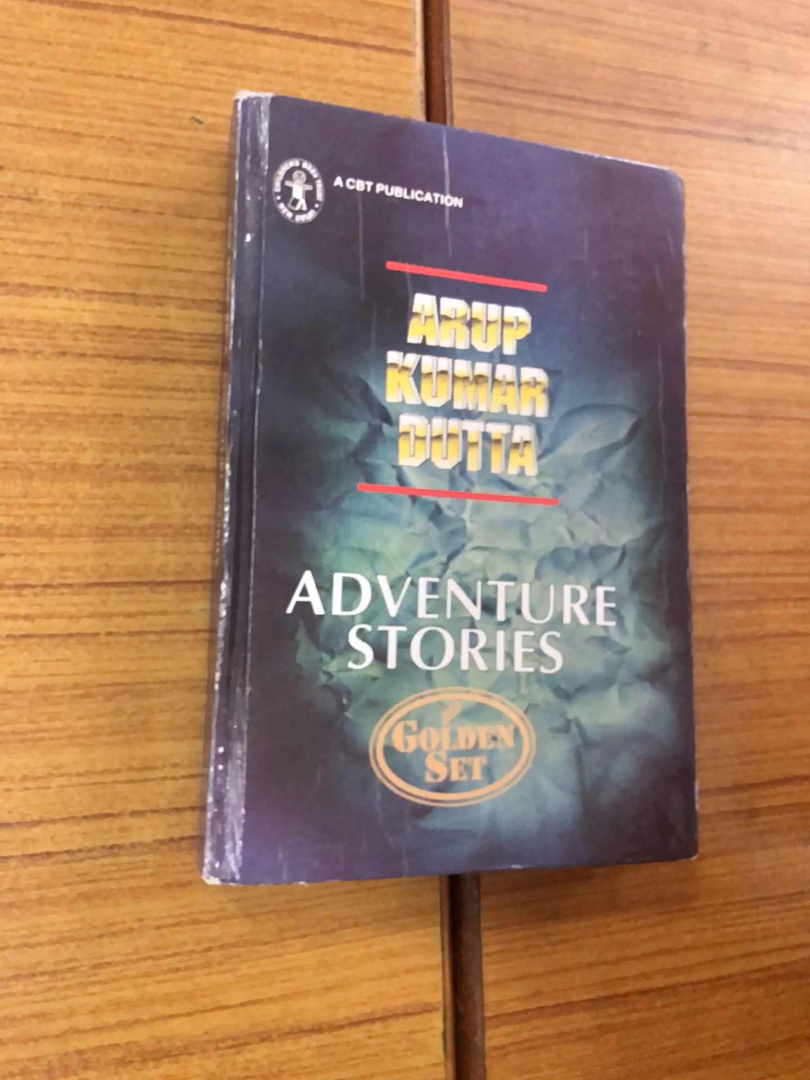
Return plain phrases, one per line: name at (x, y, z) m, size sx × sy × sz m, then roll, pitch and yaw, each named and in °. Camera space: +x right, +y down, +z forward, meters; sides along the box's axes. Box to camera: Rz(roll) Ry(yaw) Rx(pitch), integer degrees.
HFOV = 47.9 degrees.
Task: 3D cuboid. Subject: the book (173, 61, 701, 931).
book at (0.012, -0.011, 0.266) m, size 0.145 × 0.036 × 0.218 m, roll 2°, pitch 85°, yaw -17°
